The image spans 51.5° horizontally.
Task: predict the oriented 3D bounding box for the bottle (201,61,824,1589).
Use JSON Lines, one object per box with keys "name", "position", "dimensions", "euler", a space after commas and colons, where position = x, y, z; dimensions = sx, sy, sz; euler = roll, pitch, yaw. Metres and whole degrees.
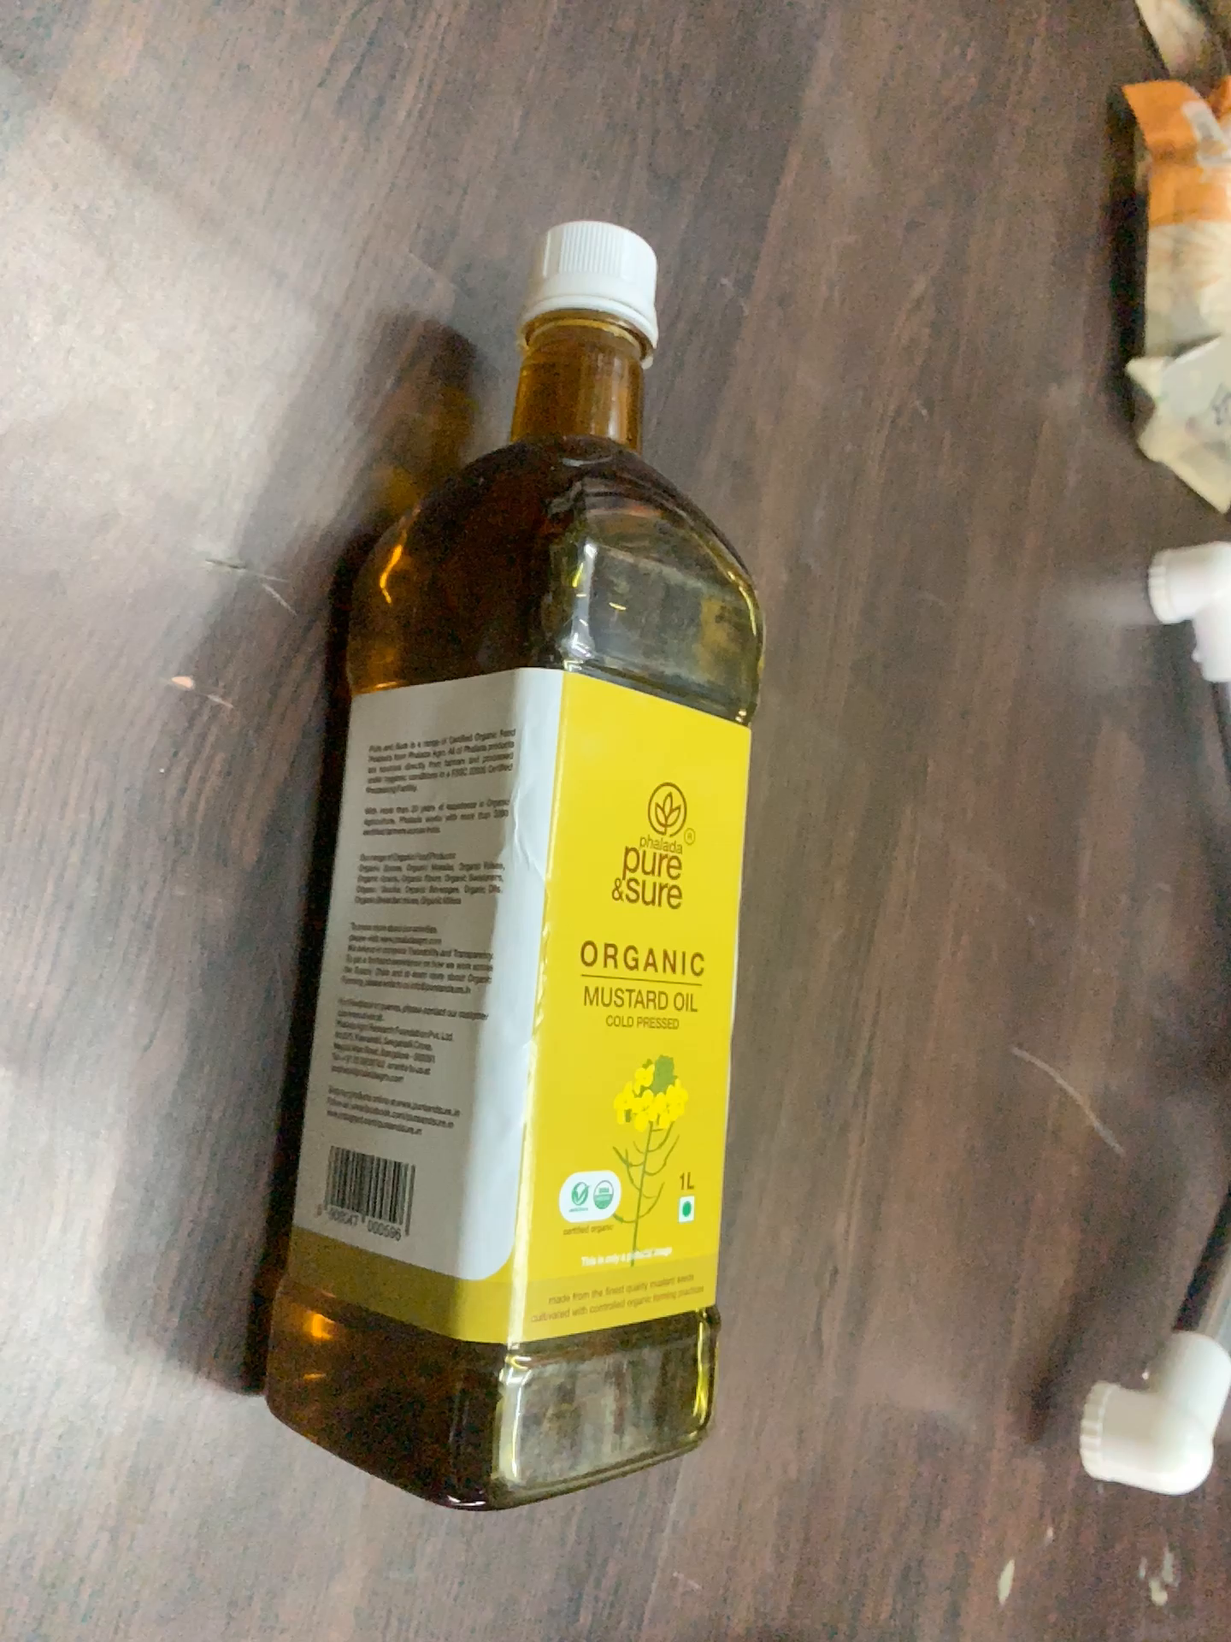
{"name": "bottle", "position": [-0.018, -0.002, 0.279], "dimensions": [0.080, 0.080, 0.270], "euler": [12, 79, -46]}
